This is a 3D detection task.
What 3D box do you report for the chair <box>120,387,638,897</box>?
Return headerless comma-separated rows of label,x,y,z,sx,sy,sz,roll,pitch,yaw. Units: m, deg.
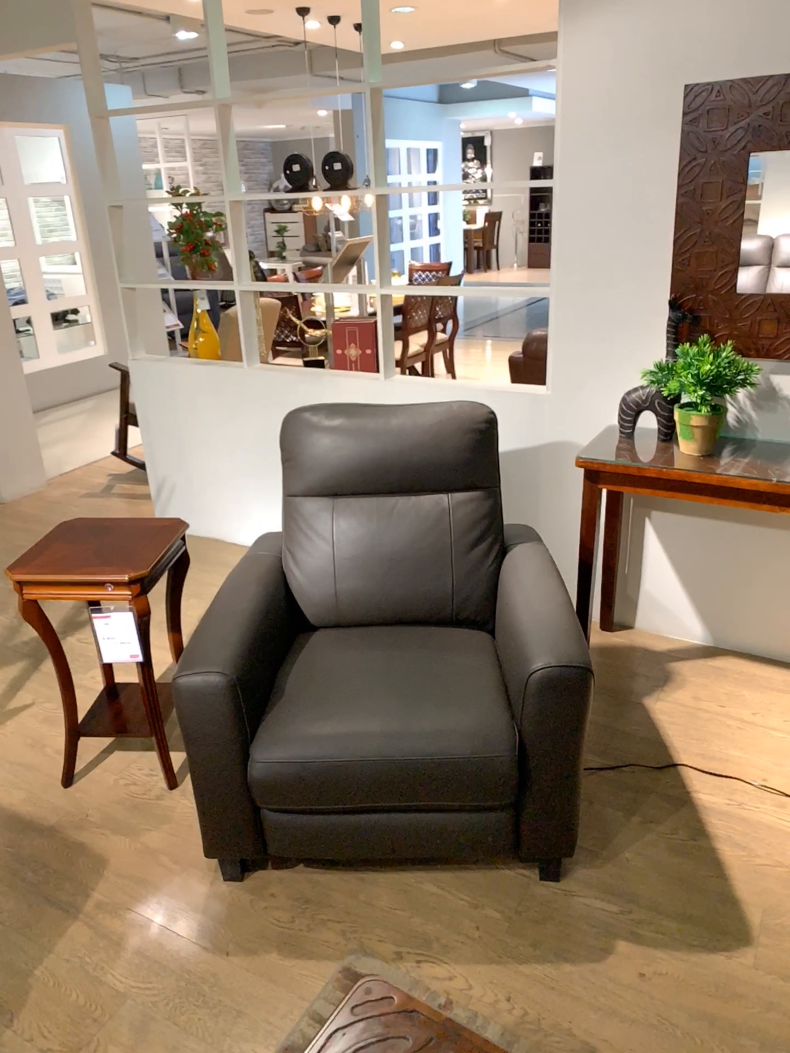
chair,0.001,0.224,2.058,0.940,0.926,0.924,-1,23,3
